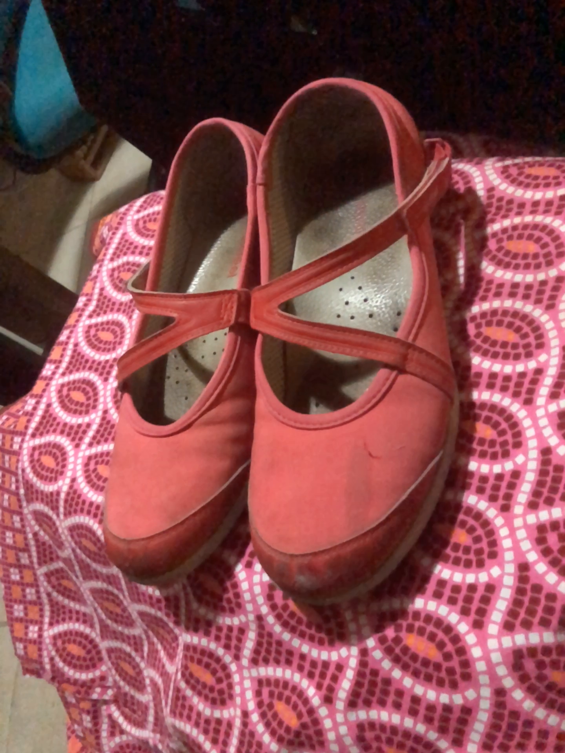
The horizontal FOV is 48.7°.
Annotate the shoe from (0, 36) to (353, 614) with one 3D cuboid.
[{"bbox_3d":[-0.044,-0.030,0.354,0.110,0.100,0.290,-6,64,31],"label":"shoe"}]

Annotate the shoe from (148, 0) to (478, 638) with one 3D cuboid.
[{"bbox_3d":[0.033,-0.032,0.331,0.110,0.100,0.301,-7,63,31],"label":"shoe"}]
